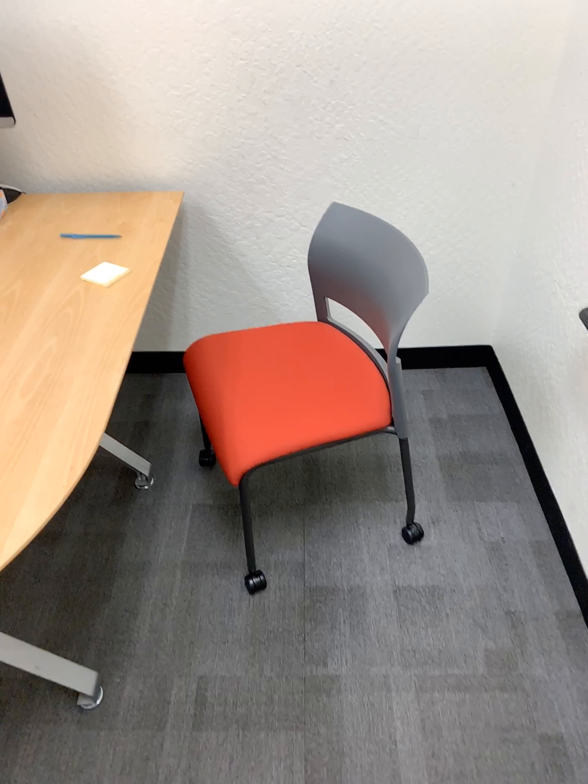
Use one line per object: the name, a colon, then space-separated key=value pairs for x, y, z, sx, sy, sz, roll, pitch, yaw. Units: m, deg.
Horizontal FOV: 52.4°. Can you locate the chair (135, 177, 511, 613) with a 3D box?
chair: x=0.030 y=-0.009 z=1.818 sx=0.720 sy=0.914 sz=0.745 roll=-15 pitch=43 yaw=-15
